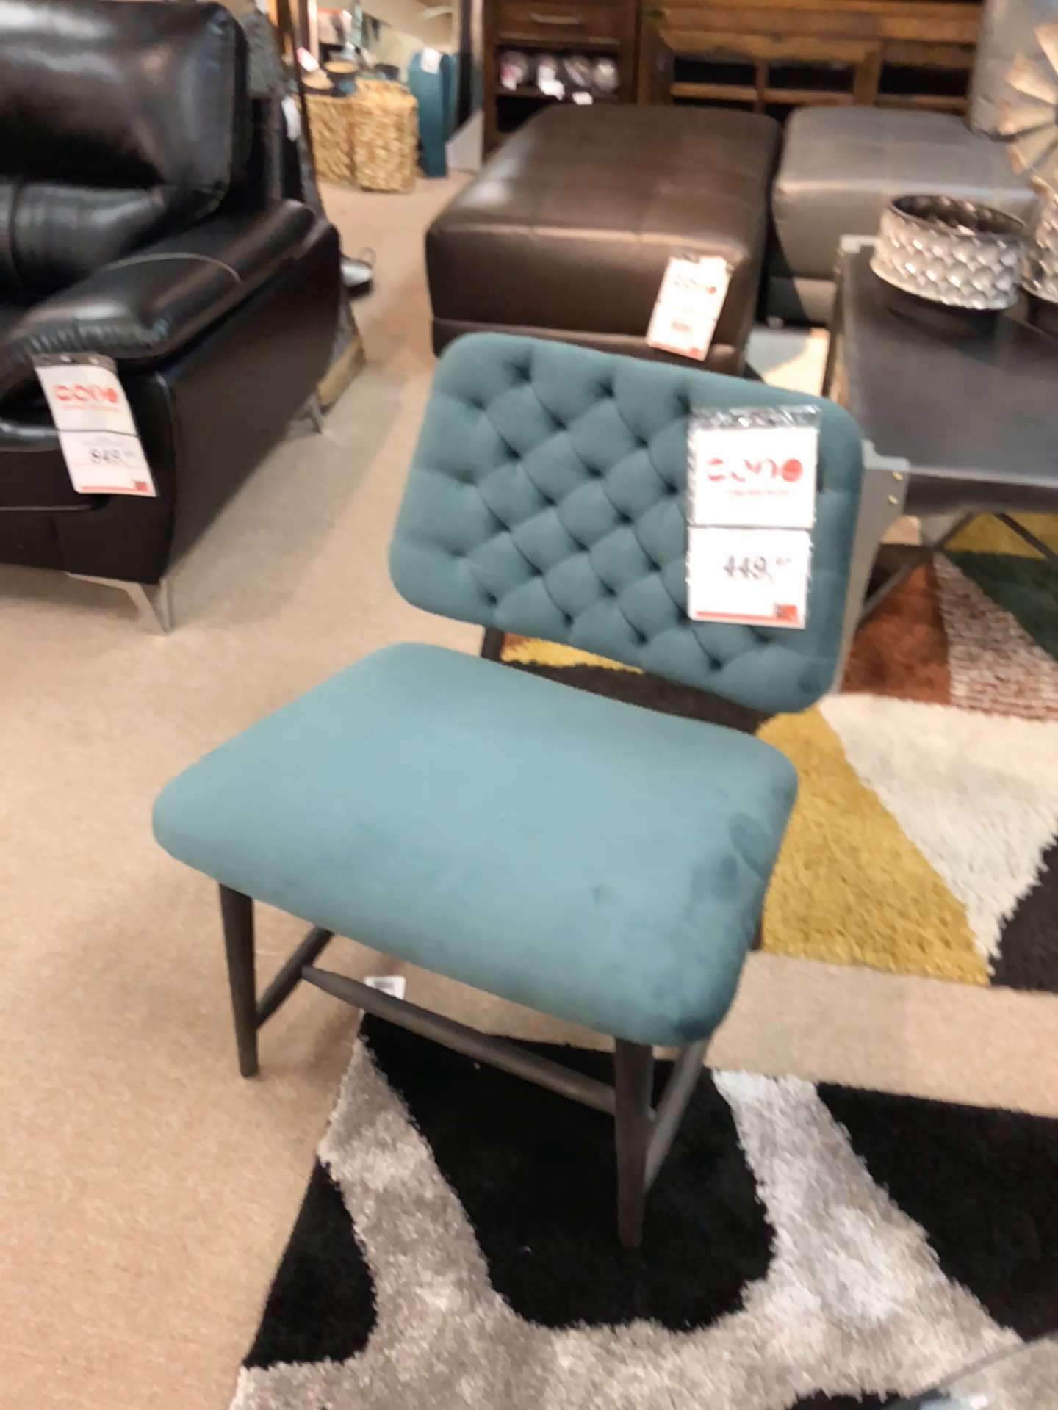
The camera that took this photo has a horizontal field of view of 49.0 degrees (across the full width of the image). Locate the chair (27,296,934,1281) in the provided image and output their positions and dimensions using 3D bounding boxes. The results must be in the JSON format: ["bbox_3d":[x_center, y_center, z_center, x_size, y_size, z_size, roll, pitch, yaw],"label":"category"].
[{"bbox_3d":[-0.020,0.074,1.278,0.640,0.765,0.534,18,42,17],"label":"chair"}]
